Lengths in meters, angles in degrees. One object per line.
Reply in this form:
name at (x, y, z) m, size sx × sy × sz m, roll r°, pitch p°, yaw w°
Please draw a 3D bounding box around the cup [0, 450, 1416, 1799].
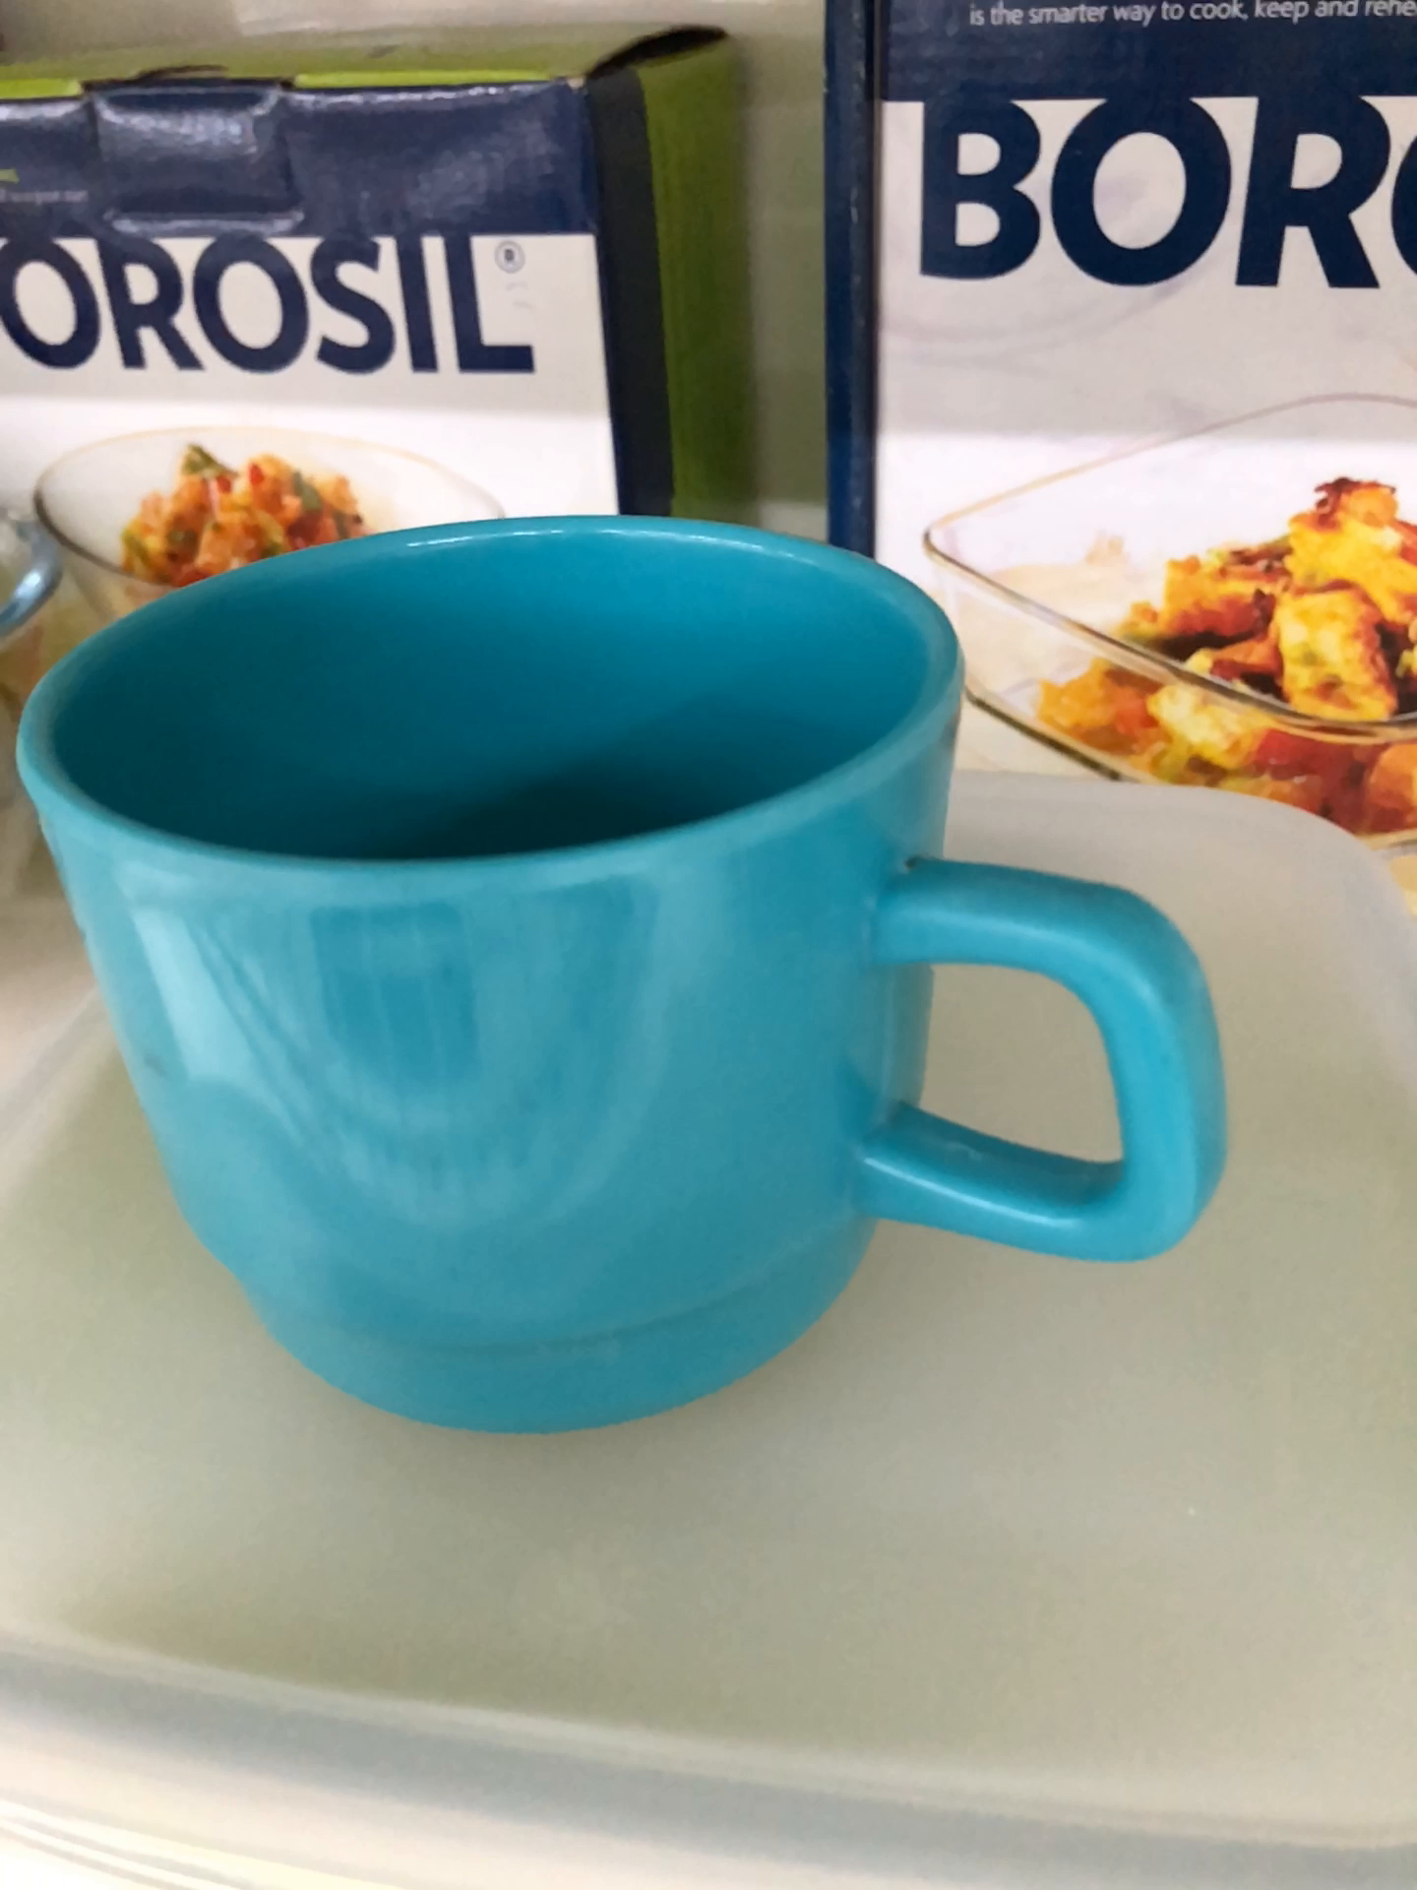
cup at (0.000, 0.002, 0.158) m, size 0.120 × 0.070 × 0.091 m, roll 10°, pitch 34°, yaw 20°
